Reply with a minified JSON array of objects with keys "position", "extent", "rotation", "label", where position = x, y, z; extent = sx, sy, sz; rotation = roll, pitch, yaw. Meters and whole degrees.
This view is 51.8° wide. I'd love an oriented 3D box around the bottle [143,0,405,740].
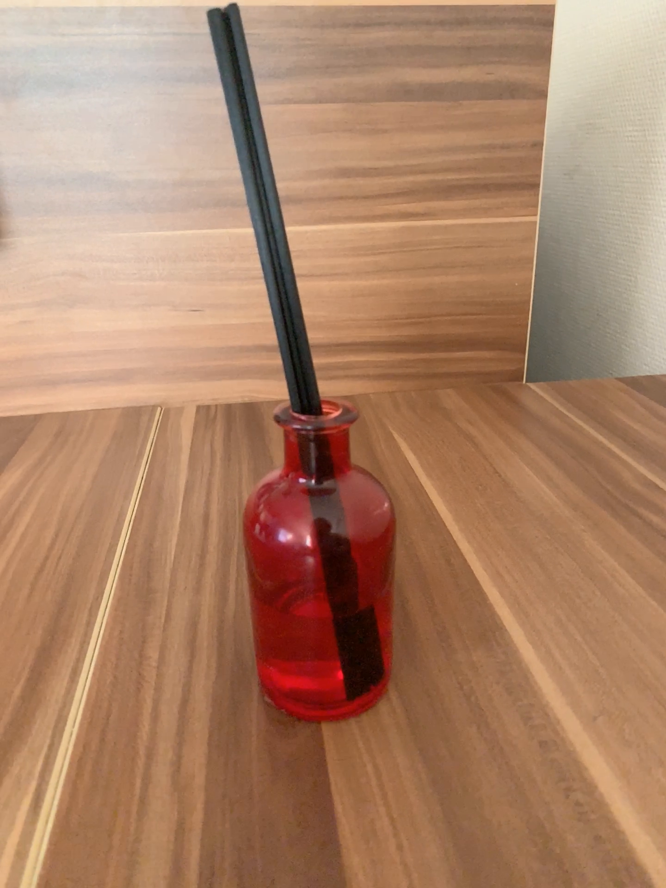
[{"position":[-0.012,-0.015,0.226],"extent":[0.060,0.239,0.050],"rotation":[-2,22,-2],"label":"bottle"}]
